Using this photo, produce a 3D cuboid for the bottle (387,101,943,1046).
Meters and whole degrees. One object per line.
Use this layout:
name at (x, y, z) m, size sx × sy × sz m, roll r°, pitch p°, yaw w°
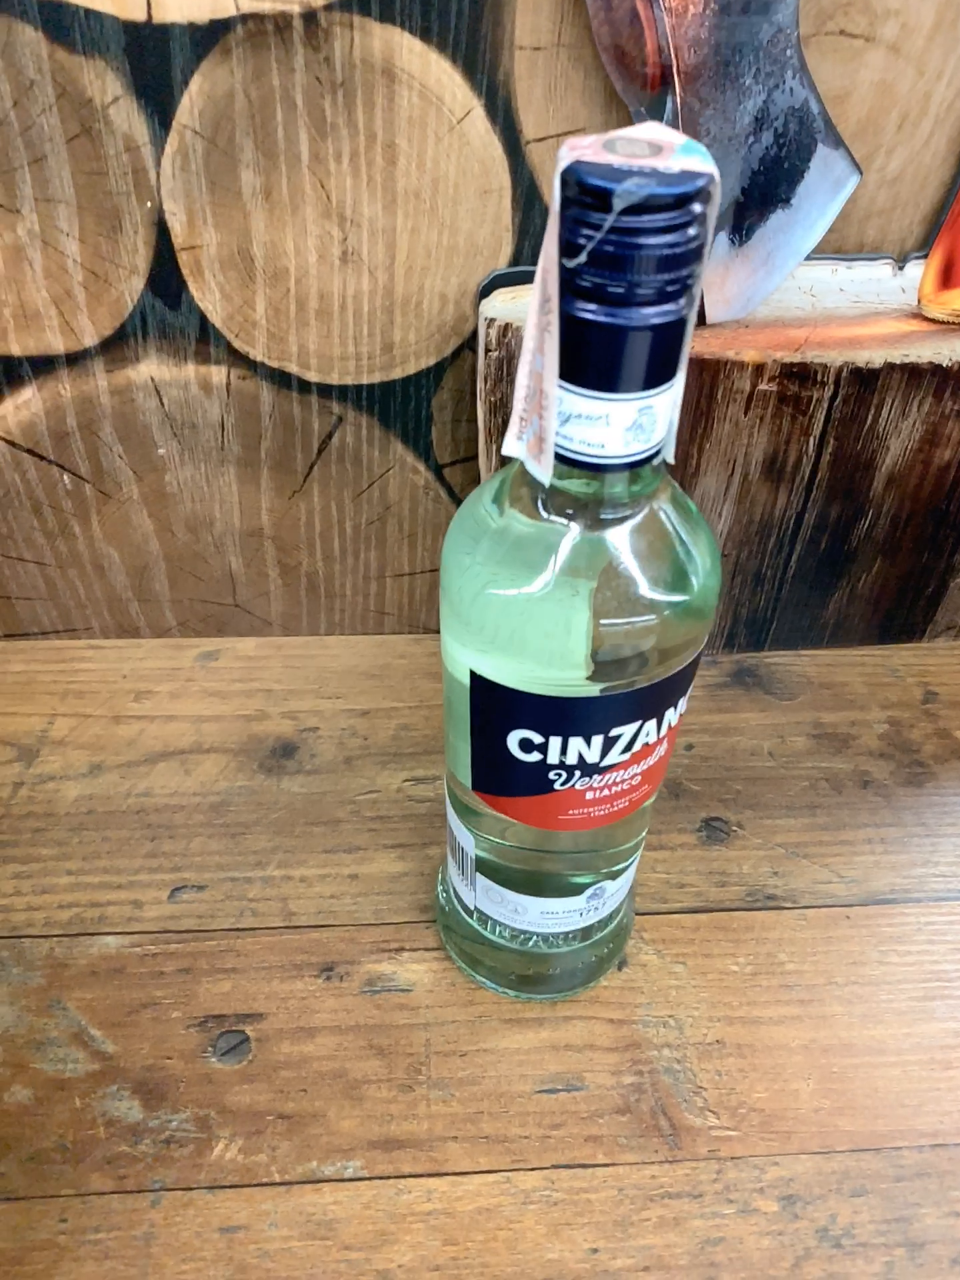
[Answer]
bottle at (0.022, 0.005, 0.246) m, size 0.070 × 0.231 × 0.070 m, roll 2°, pitch 43°, yaw -2°
